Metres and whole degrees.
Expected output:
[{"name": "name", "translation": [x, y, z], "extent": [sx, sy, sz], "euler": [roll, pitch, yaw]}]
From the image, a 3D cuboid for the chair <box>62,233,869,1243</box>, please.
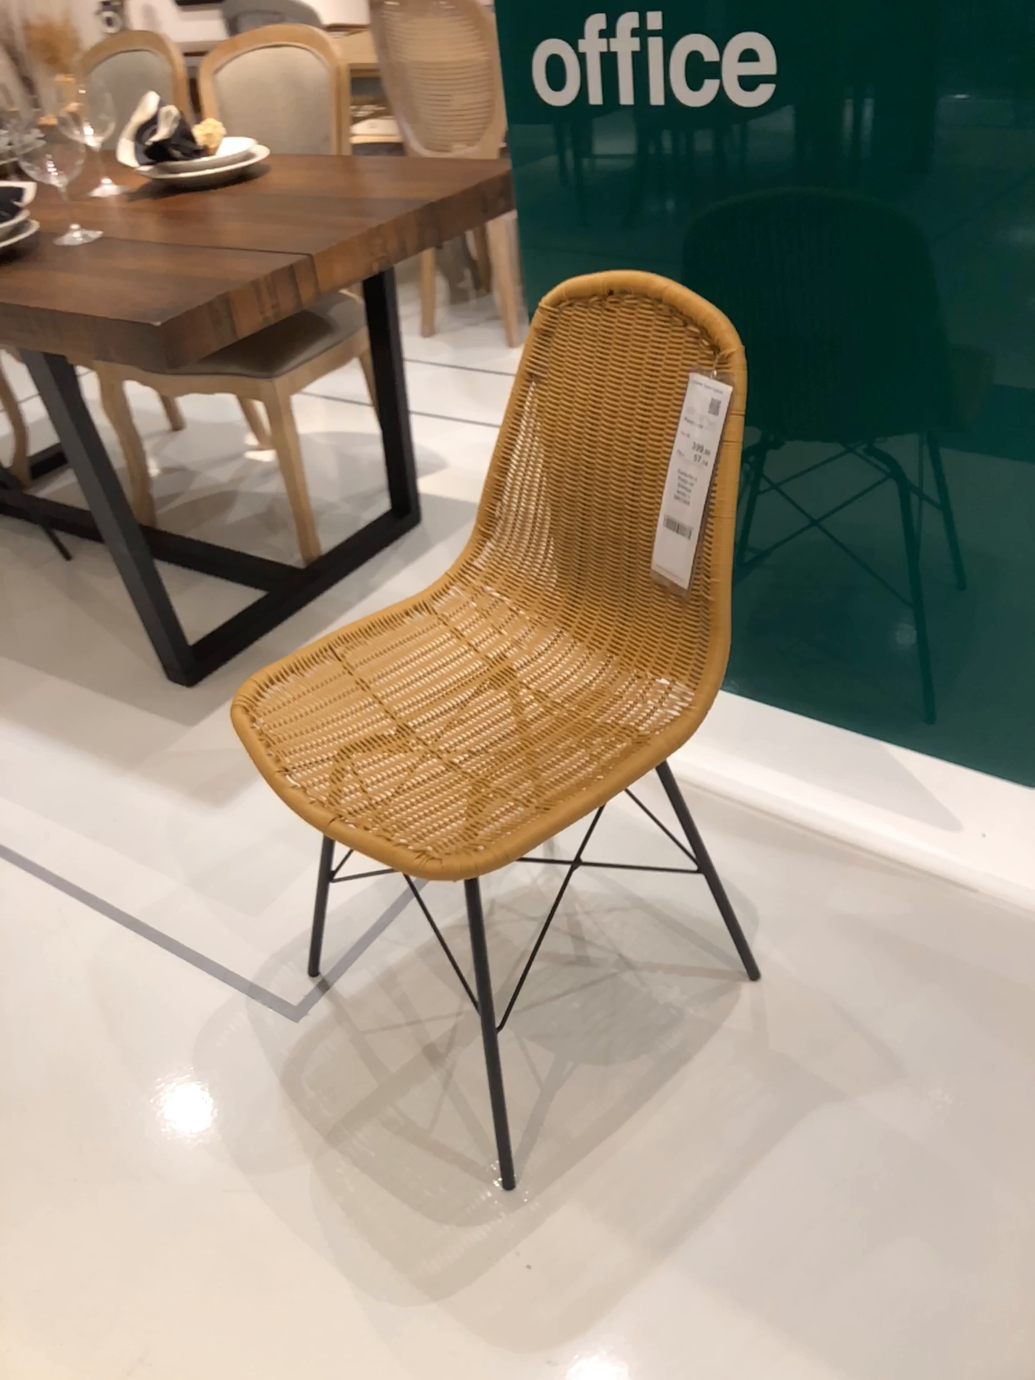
[{"name": "chair", "translation": [-0.009, 0.031, 1.299], "extent": [0.572, 0.863, 0.492], "euler": [-30, 41, -28]}]
